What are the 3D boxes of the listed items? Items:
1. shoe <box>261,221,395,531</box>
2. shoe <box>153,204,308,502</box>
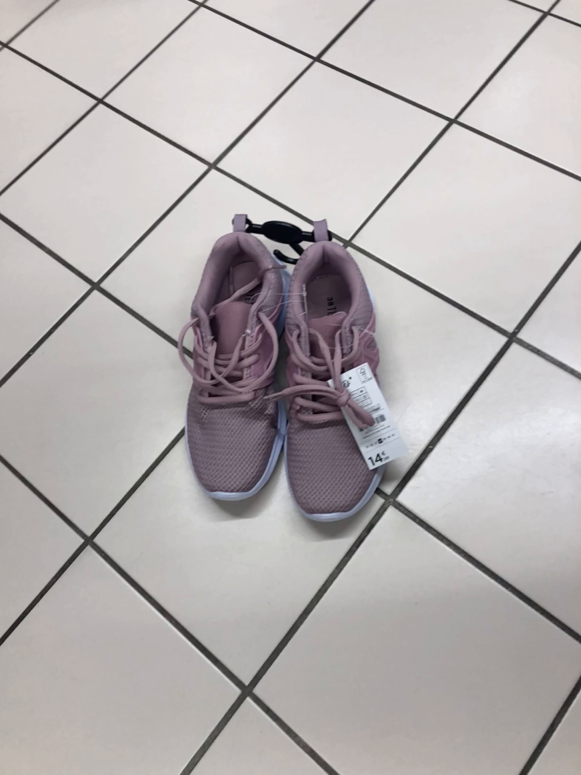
[{"bbox_3d":[0.039,-0.010,0.581,0.102,0.100,0.261,-1,67,8],"label":"shoe"},{"bbox_3d":[-0.046,-0.034,0.597,0.100,0.093,0.261,0,67,9],"label":"shoe"}]
